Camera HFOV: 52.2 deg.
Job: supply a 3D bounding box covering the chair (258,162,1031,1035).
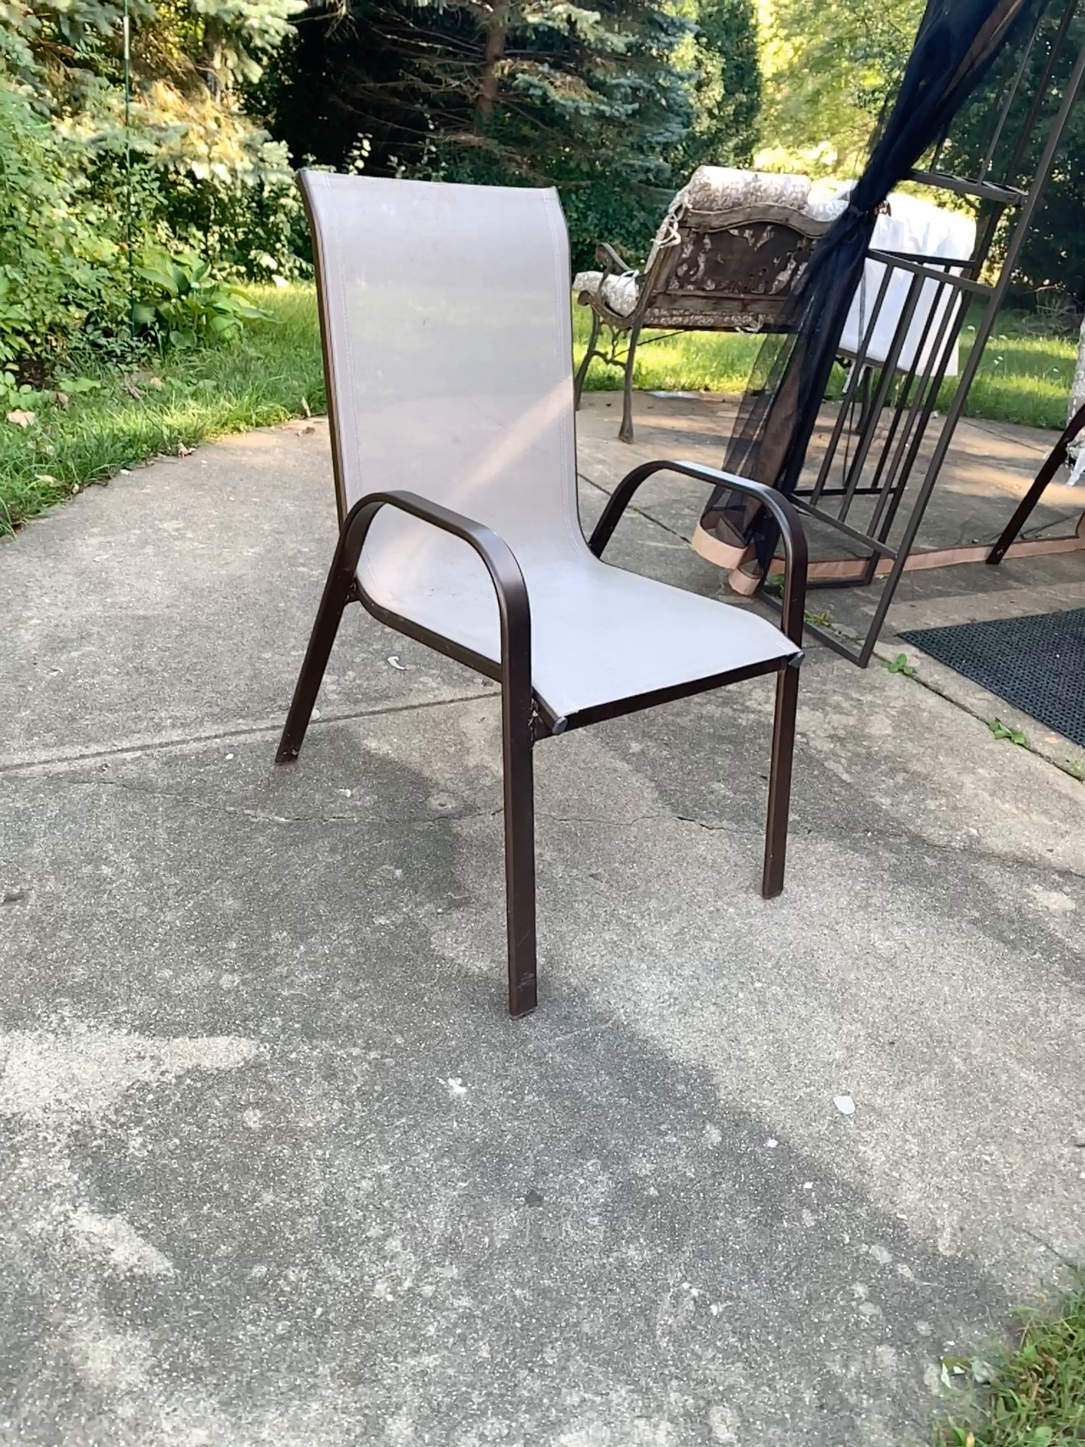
[{"bbox_3d":[0.042,-0.226,1.523,0.571,0.845,0.743,-15,38,-36],"label":"chair"}]
